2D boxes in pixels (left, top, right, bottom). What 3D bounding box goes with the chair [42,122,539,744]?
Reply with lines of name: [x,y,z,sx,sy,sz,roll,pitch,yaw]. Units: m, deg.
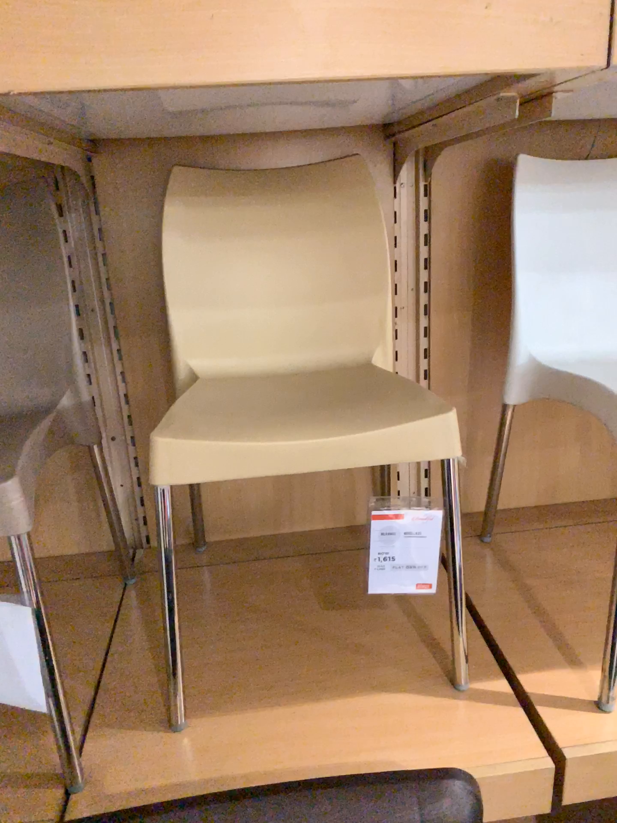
chair: [-0.042,-0.021,1.082,0.540,0.807,0.592,-4,18,-8]
